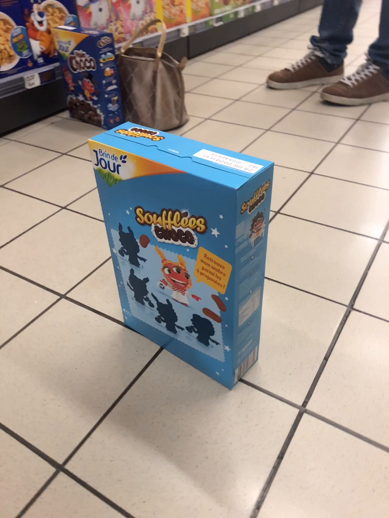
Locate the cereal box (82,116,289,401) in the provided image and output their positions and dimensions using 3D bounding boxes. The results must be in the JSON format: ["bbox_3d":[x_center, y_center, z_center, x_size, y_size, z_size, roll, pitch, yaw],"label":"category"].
[{"bbox_3d":[-0.011,0.003,0.511,0.200,0.288,0.081,24,44,30],"label":"cereal box"}]
